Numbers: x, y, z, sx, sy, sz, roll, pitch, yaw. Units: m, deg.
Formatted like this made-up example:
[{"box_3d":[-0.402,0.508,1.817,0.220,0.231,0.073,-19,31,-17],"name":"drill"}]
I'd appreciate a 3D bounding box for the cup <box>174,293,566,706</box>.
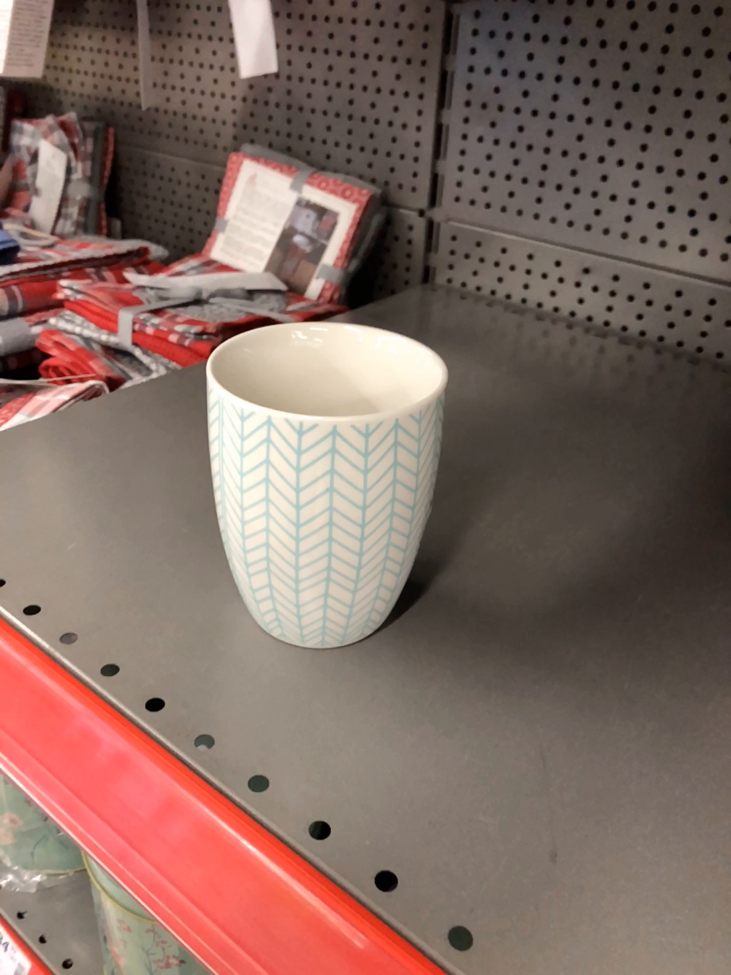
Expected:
[{"box_3d":[-0.005,-0.005,0.320,0.093,0.096,0.120,-17,37,-28],"name":"cup"}]
